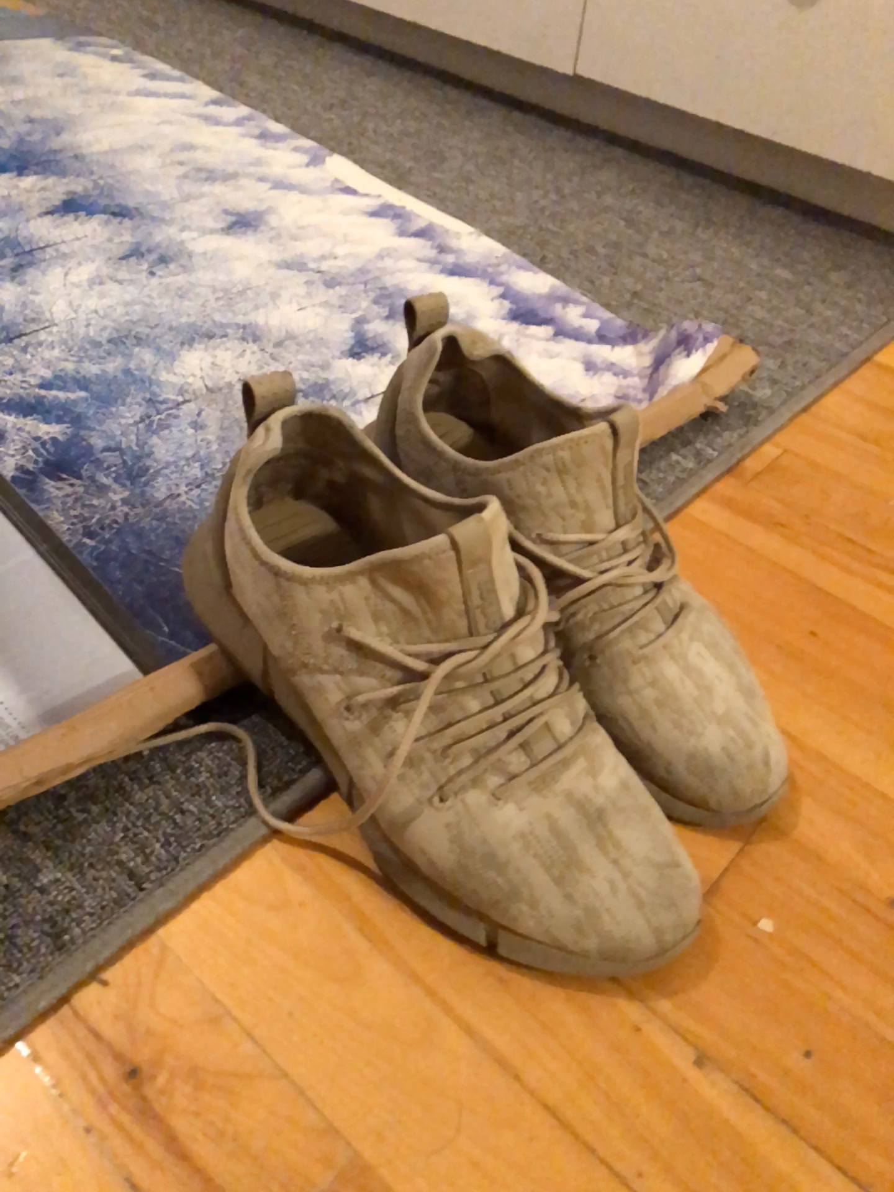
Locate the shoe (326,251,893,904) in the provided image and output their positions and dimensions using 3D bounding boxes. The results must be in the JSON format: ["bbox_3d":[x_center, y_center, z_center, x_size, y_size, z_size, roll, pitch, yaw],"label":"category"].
[{"bbox_3d":[0.076,-0.007,0.450,0.111,0.119,0.250,-31,83,-34],"label":"shoe"}]

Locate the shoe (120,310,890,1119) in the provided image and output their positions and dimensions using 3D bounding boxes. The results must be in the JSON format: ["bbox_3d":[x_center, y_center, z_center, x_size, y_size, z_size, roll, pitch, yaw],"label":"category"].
[{"bbox_3d":[0.009,0.043,0.361,0.111,0.119,0.250,-34,81,-36],"label":"shoe"}]
